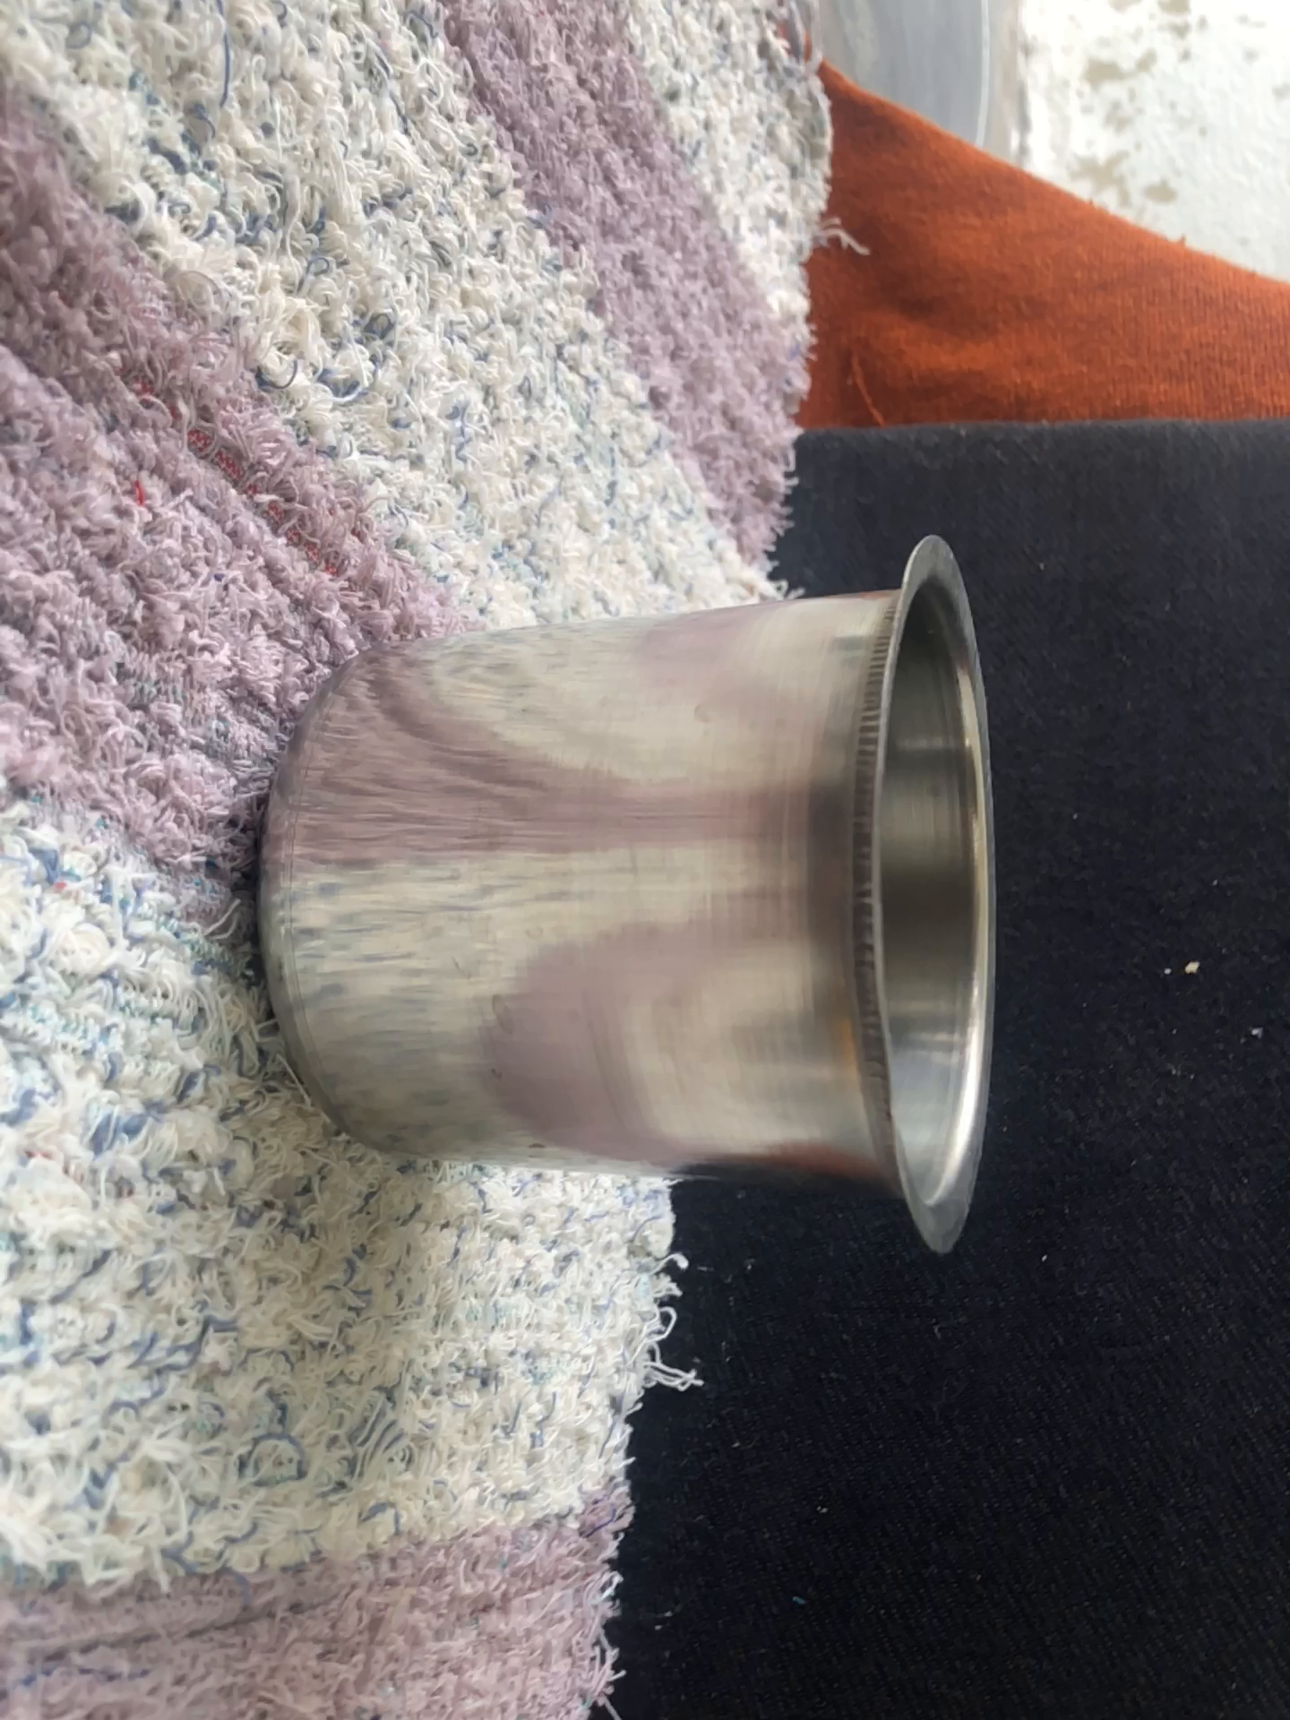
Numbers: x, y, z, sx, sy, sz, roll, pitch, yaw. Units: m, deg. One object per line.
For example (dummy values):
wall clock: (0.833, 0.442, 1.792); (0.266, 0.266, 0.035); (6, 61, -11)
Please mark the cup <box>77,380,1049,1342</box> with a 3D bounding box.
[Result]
cup: (0.003, 0.005, 0.223); (0.101, 0.099, 0.100); (0, 90, -68)
